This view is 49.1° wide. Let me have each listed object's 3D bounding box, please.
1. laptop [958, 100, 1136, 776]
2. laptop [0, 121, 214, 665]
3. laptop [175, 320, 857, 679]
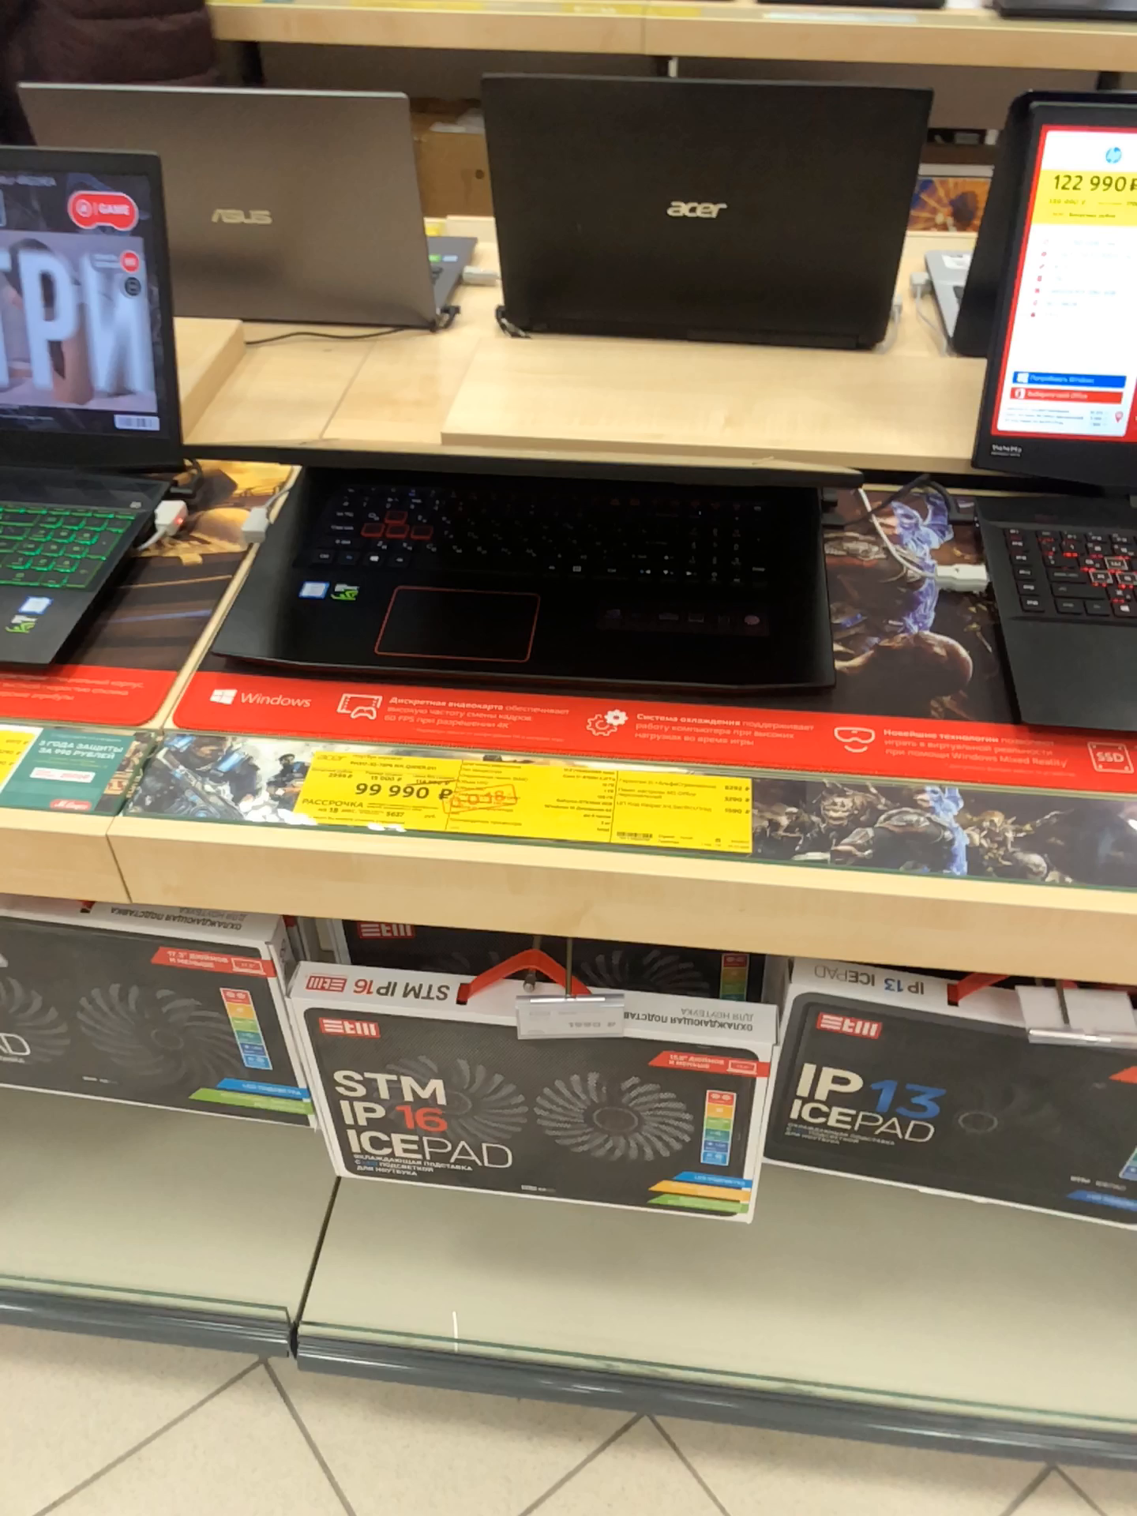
[{"bbox_3d":[0.501,-0.229,0.817,0.377,0.251,0.357,4,44,6],"label":"laptop"},{"bbox_3d":[-0.516,-0.280,0.912,0.350,0.230,0.344,5,42,5],"label":"laptop"},{"bbox_3d":[-0.024,-0.197,0.896,0.419,0.124,0.262,3,42,5],"label":"laptop"}]
